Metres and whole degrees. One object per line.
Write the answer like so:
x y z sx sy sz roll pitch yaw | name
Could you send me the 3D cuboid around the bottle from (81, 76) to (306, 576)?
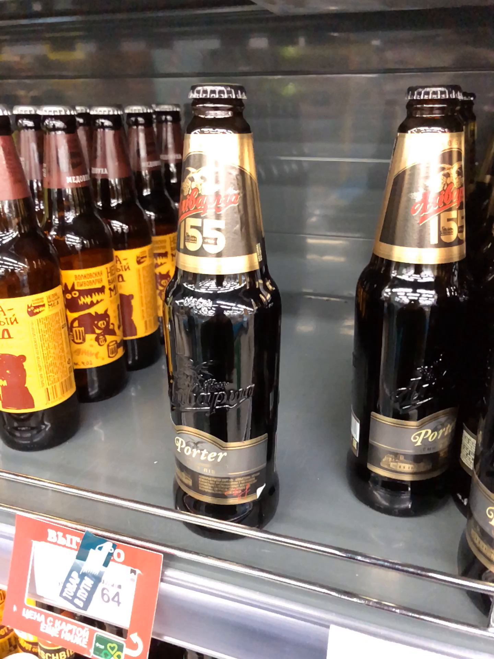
-0.023 0.000 0.319 0.080 0.264 0.080 0 22 0 | bottle
